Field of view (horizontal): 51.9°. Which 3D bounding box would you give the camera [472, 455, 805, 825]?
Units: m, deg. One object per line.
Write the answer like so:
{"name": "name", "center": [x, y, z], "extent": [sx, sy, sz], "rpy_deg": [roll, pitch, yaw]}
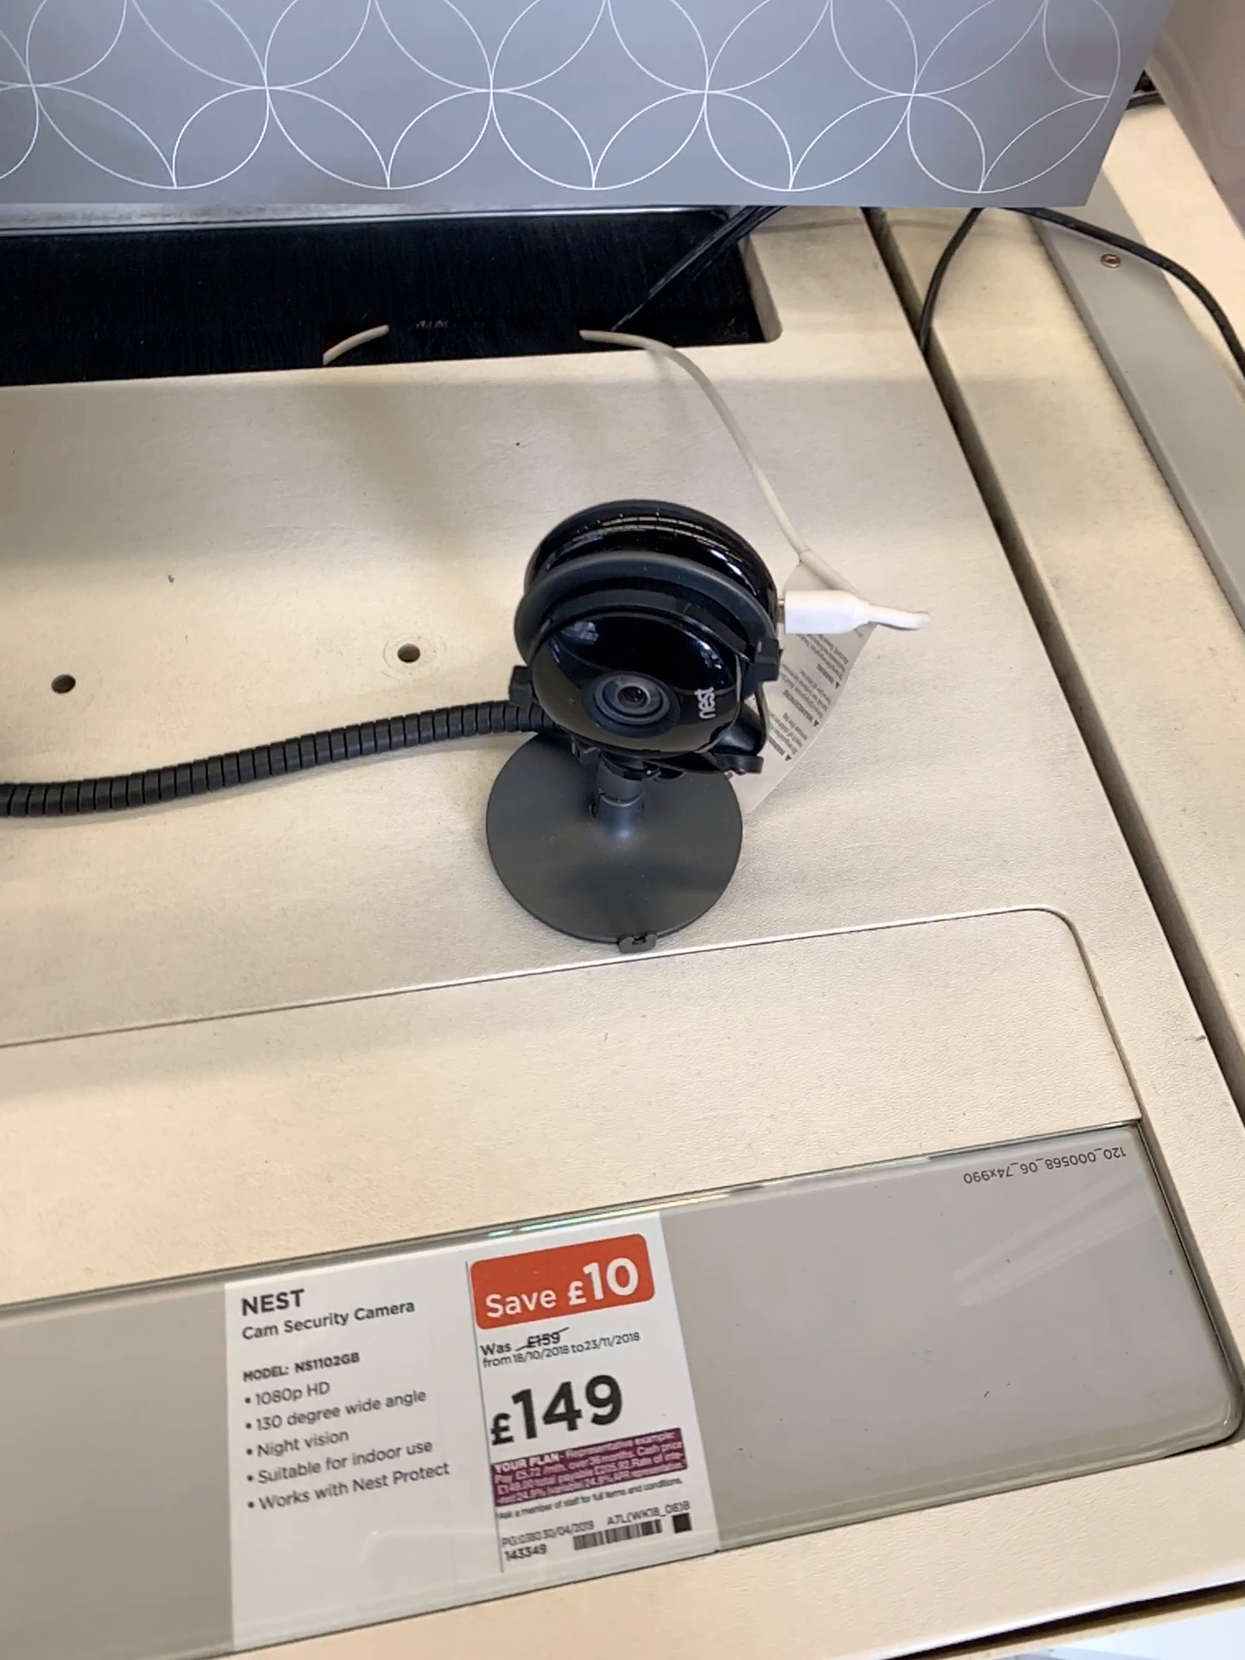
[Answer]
{"name": "camera", "center": [0.003, -0.040, 0.276], "extent": [0.060, 0.050, 0.050], "rpy_deg": [10, 59, 0]}
